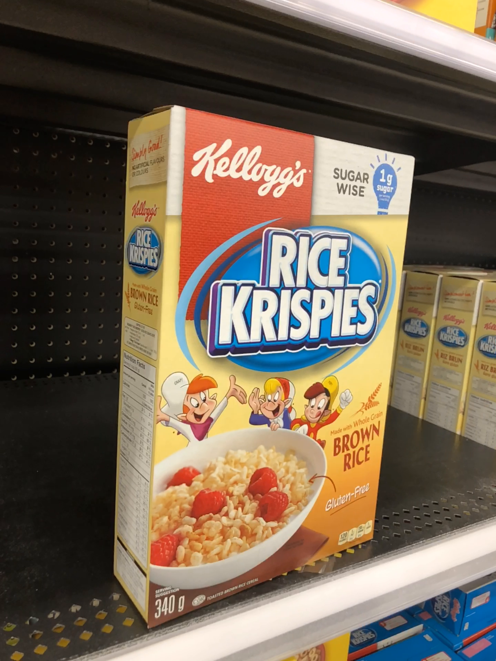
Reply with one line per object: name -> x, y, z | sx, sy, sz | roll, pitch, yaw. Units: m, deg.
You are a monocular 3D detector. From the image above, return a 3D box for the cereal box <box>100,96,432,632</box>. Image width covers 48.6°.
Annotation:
cereal box -> 0.017, 0.018, 0.373 | 0.210, 0.289, 0.060 | -3, 12, -36
